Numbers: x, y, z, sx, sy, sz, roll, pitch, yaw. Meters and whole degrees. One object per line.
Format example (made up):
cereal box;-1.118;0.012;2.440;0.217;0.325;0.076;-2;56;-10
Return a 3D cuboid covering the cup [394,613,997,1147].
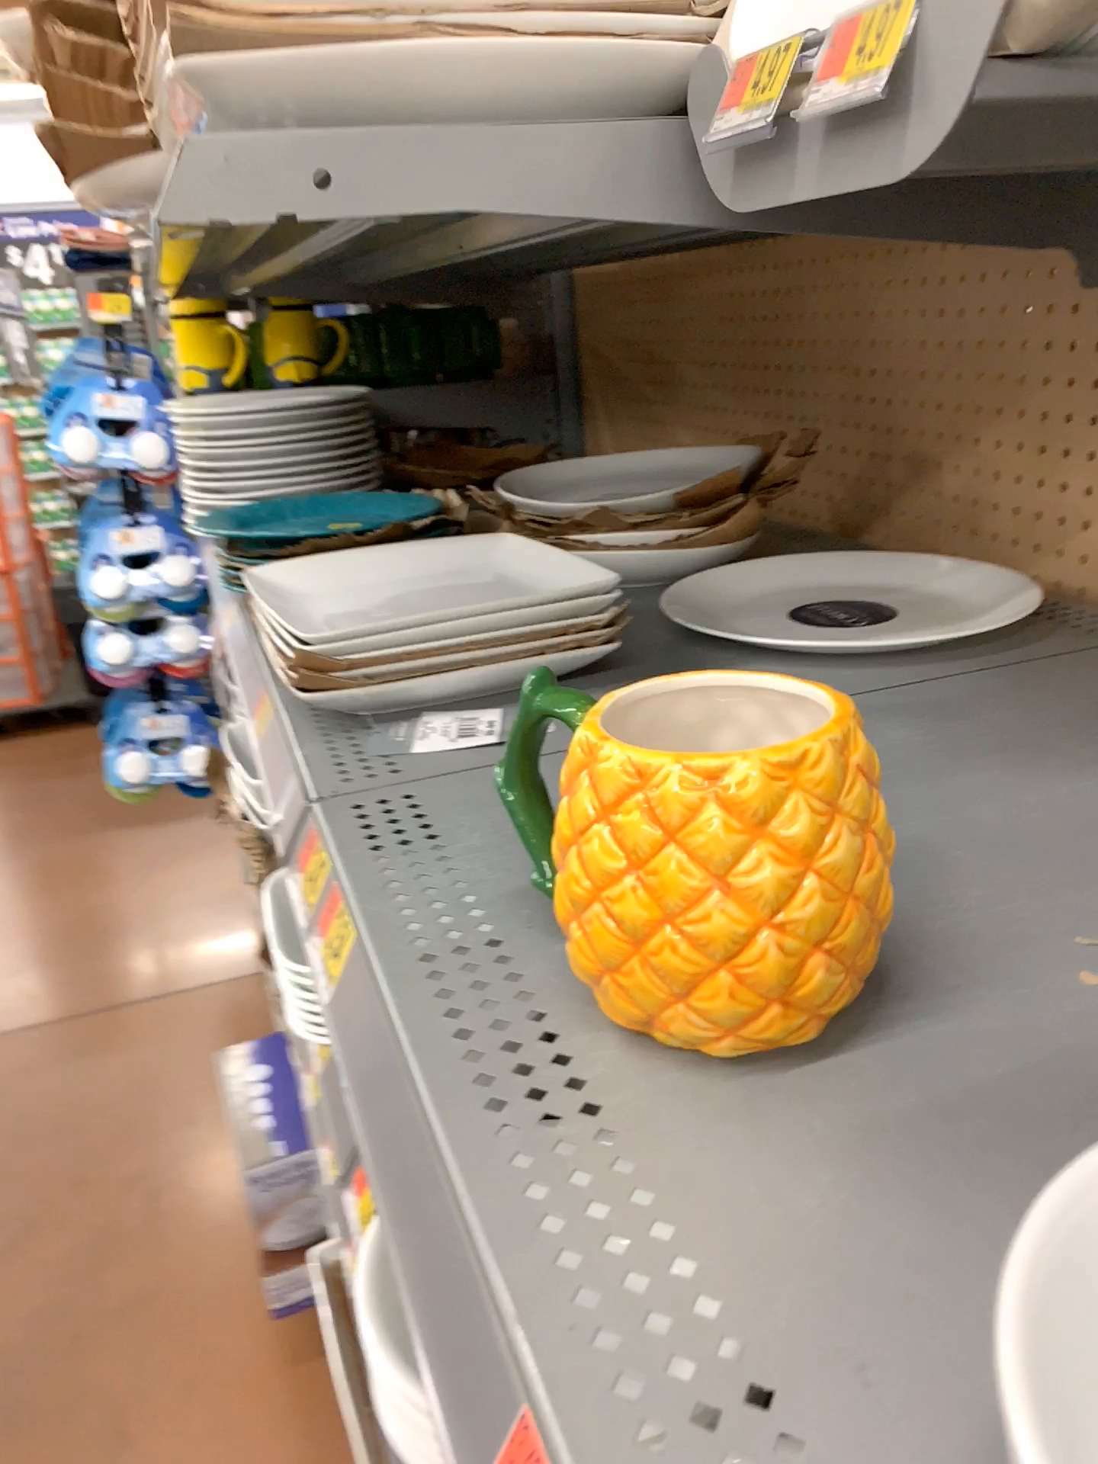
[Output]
cup;0.043;0.032;0.369;0.100;0.100;0.160;-21;26;-38
